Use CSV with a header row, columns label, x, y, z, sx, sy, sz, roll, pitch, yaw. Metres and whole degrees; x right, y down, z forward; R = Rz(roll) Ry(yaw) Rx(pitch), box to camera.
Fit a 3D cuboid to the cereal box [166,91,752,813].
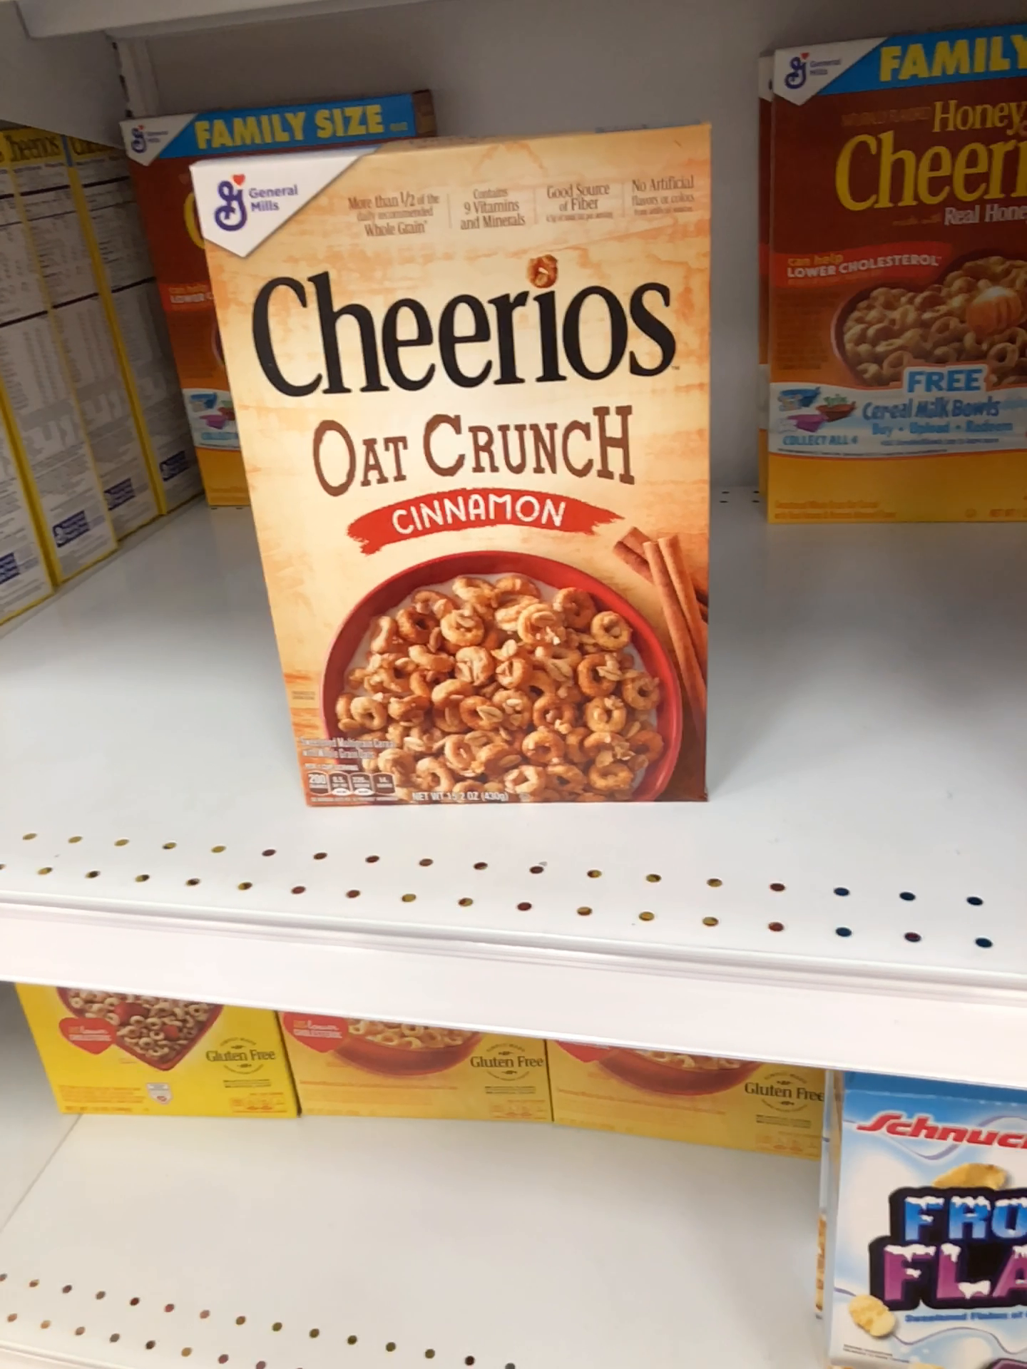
label,x,y,z,sx,sy,sz,roll,pitch,yaw
cereal box,-0.006,-0.077,0.468,0.200,0.279,0.050,-2,29,8
